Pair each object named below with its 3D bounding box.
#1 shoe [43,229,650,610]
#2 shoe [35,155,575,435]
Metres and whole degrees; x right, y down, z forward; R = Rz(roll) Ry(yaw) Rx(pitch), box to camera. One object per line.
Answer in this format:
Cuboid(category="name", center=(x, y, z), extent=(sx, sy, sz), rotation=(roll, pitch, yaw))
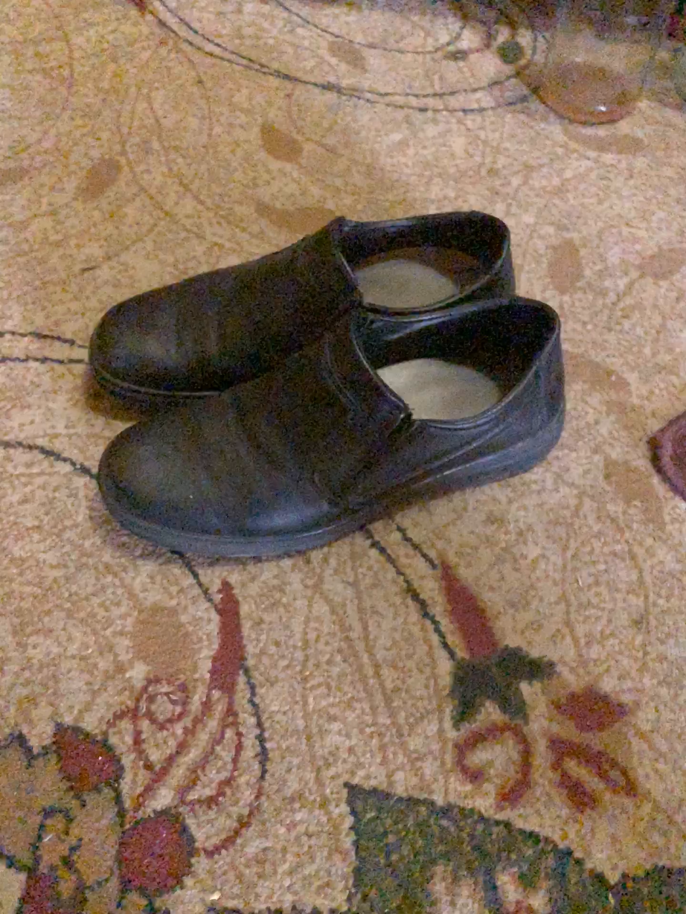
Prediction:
Cuboid(category="shoe", center=(0.003, -0.024, 0.400), extent=(0.290, 0.099, 0.100), rotation=(-17, 61, -11))
Cuboid(category="shoe", center=(-0.024, -0.102, 0.445), extent=(0.290, 0.099, 0.101), rotation=(-8, 59, -6))
